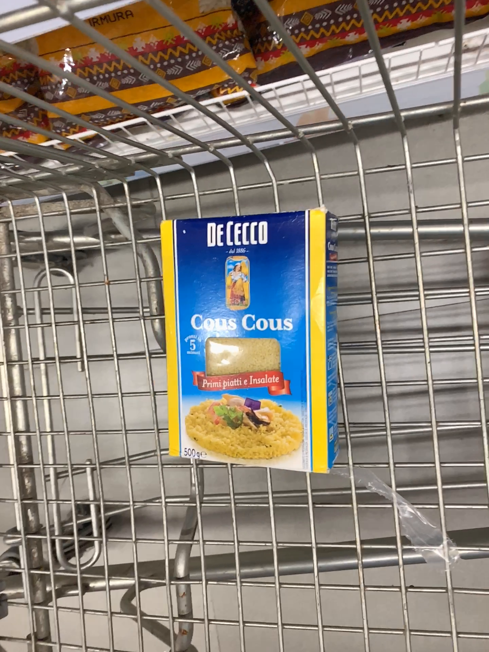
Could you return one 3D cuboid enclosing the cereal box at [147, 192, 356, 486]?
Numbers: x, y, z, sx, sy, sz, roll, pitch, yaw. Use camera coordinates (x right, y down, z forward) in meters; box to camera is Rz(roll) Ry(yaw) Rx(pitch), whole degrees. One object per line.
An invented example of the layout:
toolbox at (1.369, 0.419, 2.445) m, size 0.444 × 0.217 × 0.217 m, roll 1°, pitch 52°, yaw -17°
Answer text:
cereal box at (0.006, 0.007, 0.316) m, size 0.120 × 0.050 × 0.160 m, roll 0°, pitch 94°, yaw 21°
